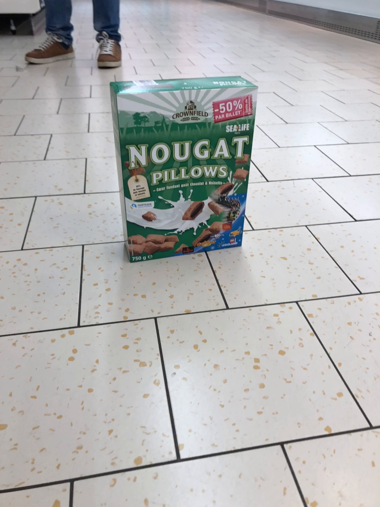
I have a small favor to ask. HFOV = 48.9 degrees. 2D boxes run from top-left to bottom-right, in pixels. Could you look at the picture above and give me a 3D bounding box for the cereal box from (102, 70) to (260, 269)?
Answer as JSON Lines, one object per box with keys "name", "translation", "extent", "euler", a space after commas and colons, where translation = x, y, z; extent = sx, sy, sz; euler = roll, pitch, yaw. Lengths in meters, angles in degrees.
{"name": "cereal box", "translation": [-0.014, -0.123, 0.631], "extent": [0.200, 0.268, 0.070], "euler": [-9, 34, -15]}
